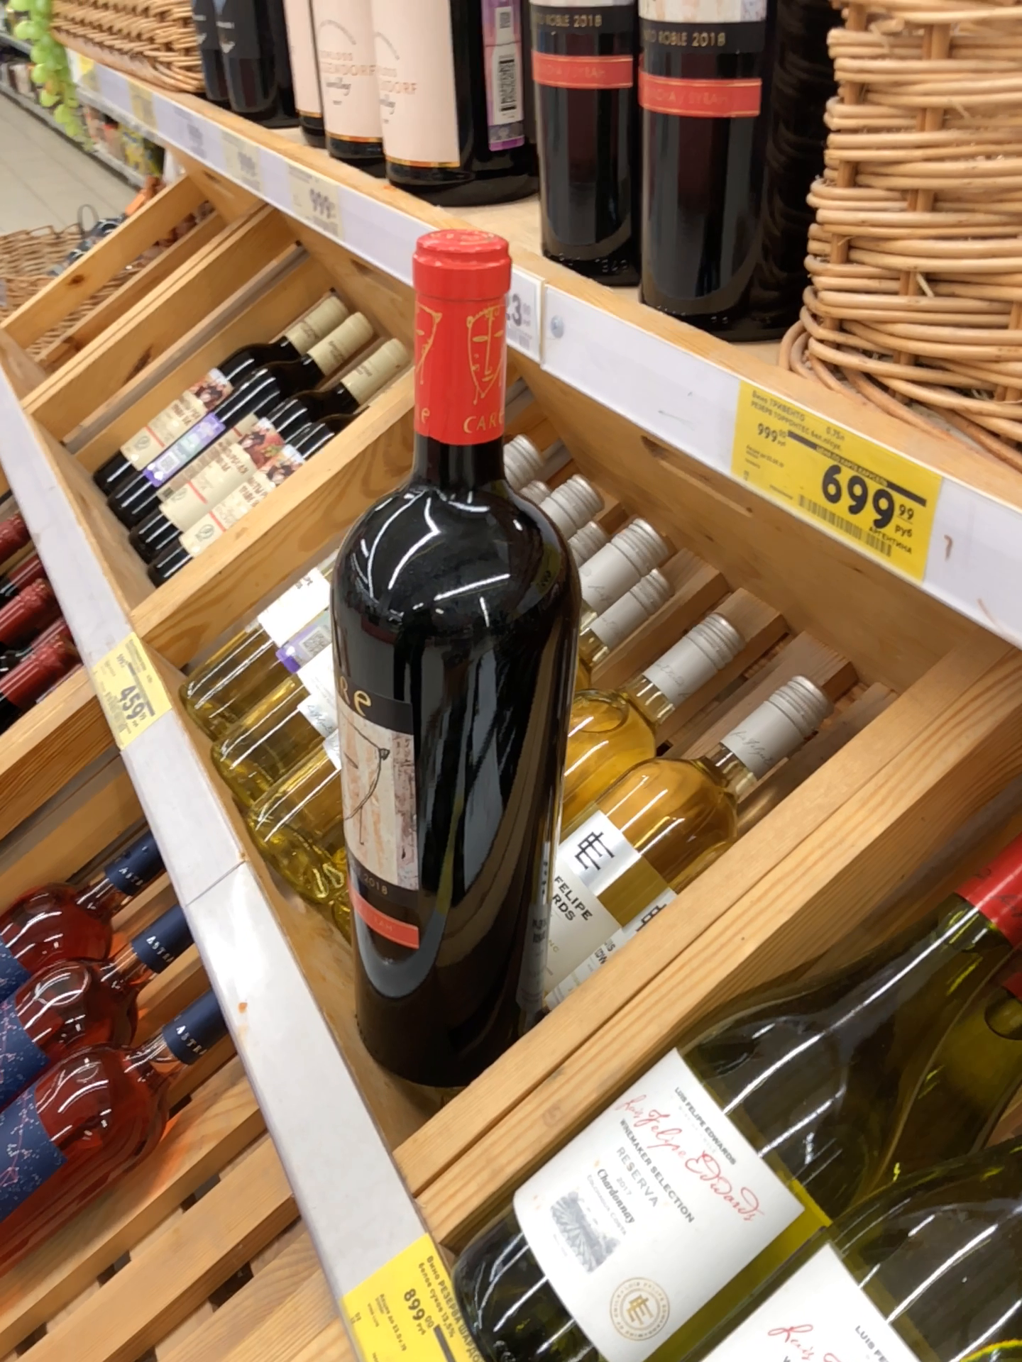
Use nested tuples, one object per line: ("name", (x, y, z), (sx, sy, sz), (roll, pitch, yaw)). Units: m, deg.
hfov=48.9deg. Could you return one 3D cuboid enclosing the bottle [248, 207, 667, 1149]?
("bottle", (-0.028, 0.015, 0.444), (0.100, 0.358, 0.100), (2, 32, -1))
